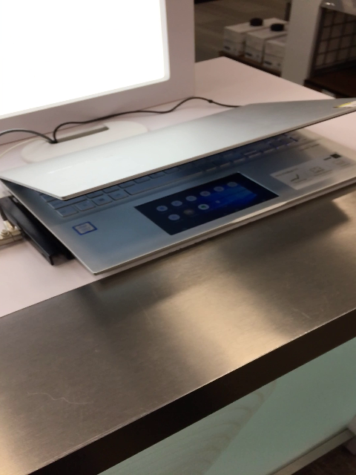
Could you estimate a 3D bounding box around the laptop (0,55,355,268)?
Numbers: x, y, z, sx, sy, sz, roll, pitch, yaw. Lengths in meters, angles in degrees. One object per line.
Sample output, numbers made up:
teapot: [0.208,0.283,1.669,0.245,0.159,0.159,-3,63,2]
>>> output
laptop: [0.005,-0.110,0.528,0.350,0.099,0.235,-22,42,-26]
